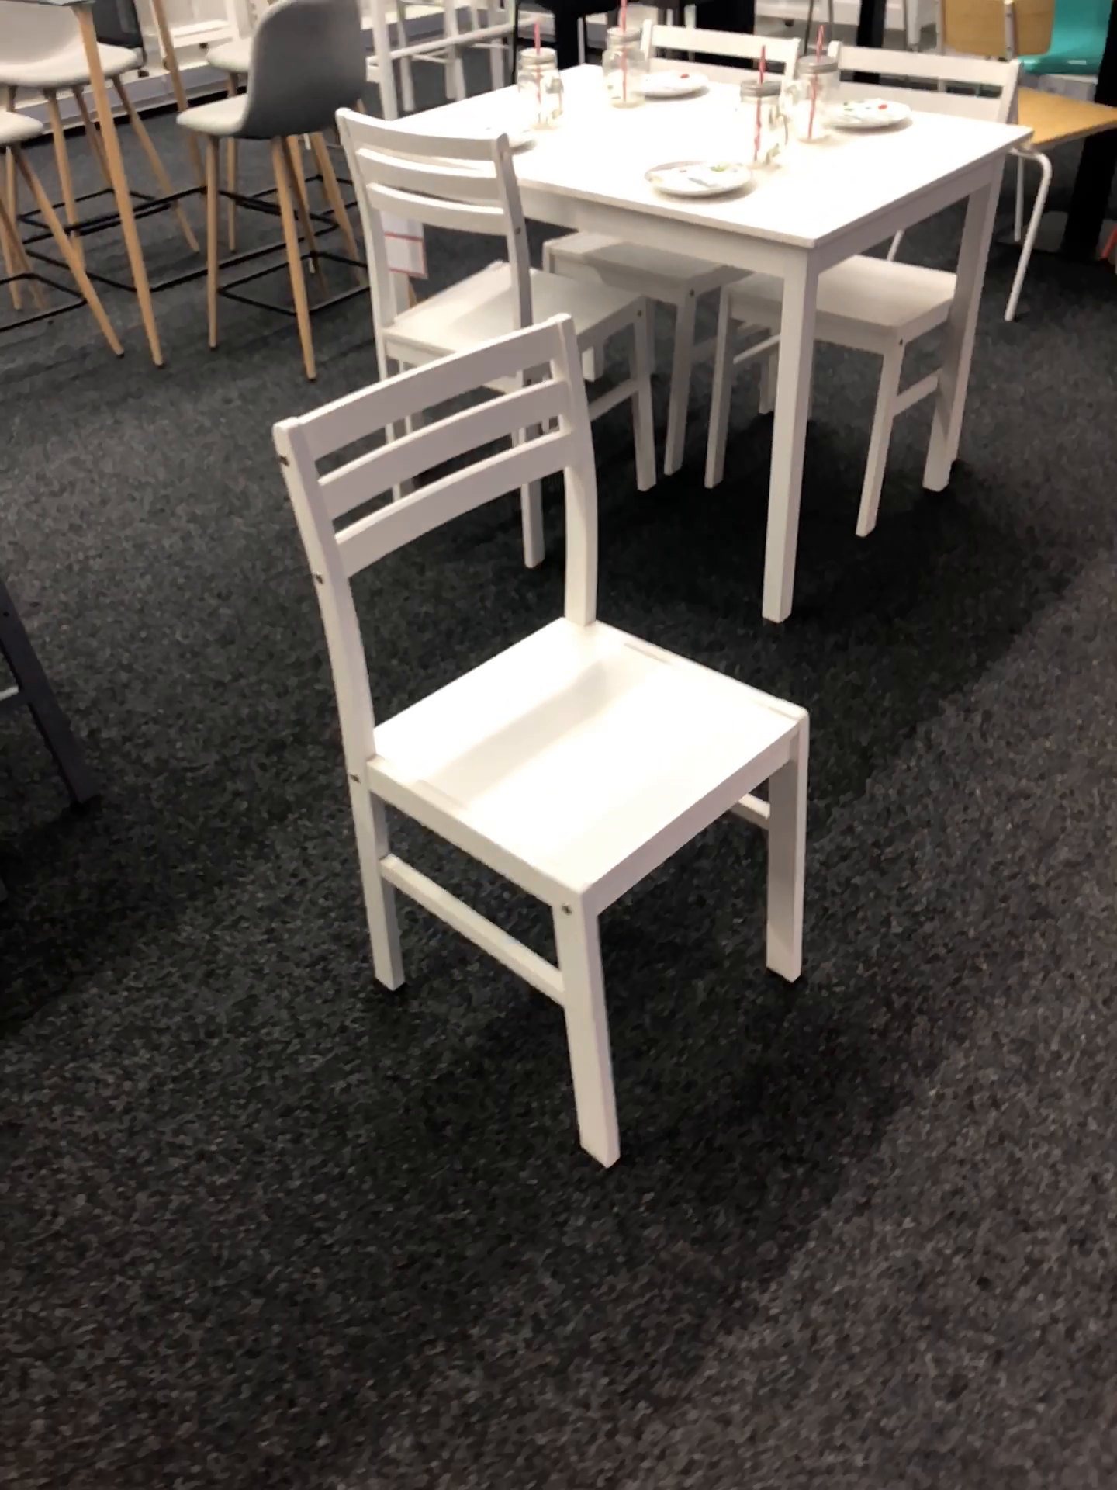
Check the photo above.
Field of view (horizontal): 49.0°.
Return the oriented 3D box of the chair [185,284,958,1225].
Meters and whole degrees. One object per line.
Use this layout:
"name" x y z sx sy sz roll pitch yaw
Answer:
"chair" 0.029 -0.004 1.359 0.500 0.766 0.502 29 49 34
